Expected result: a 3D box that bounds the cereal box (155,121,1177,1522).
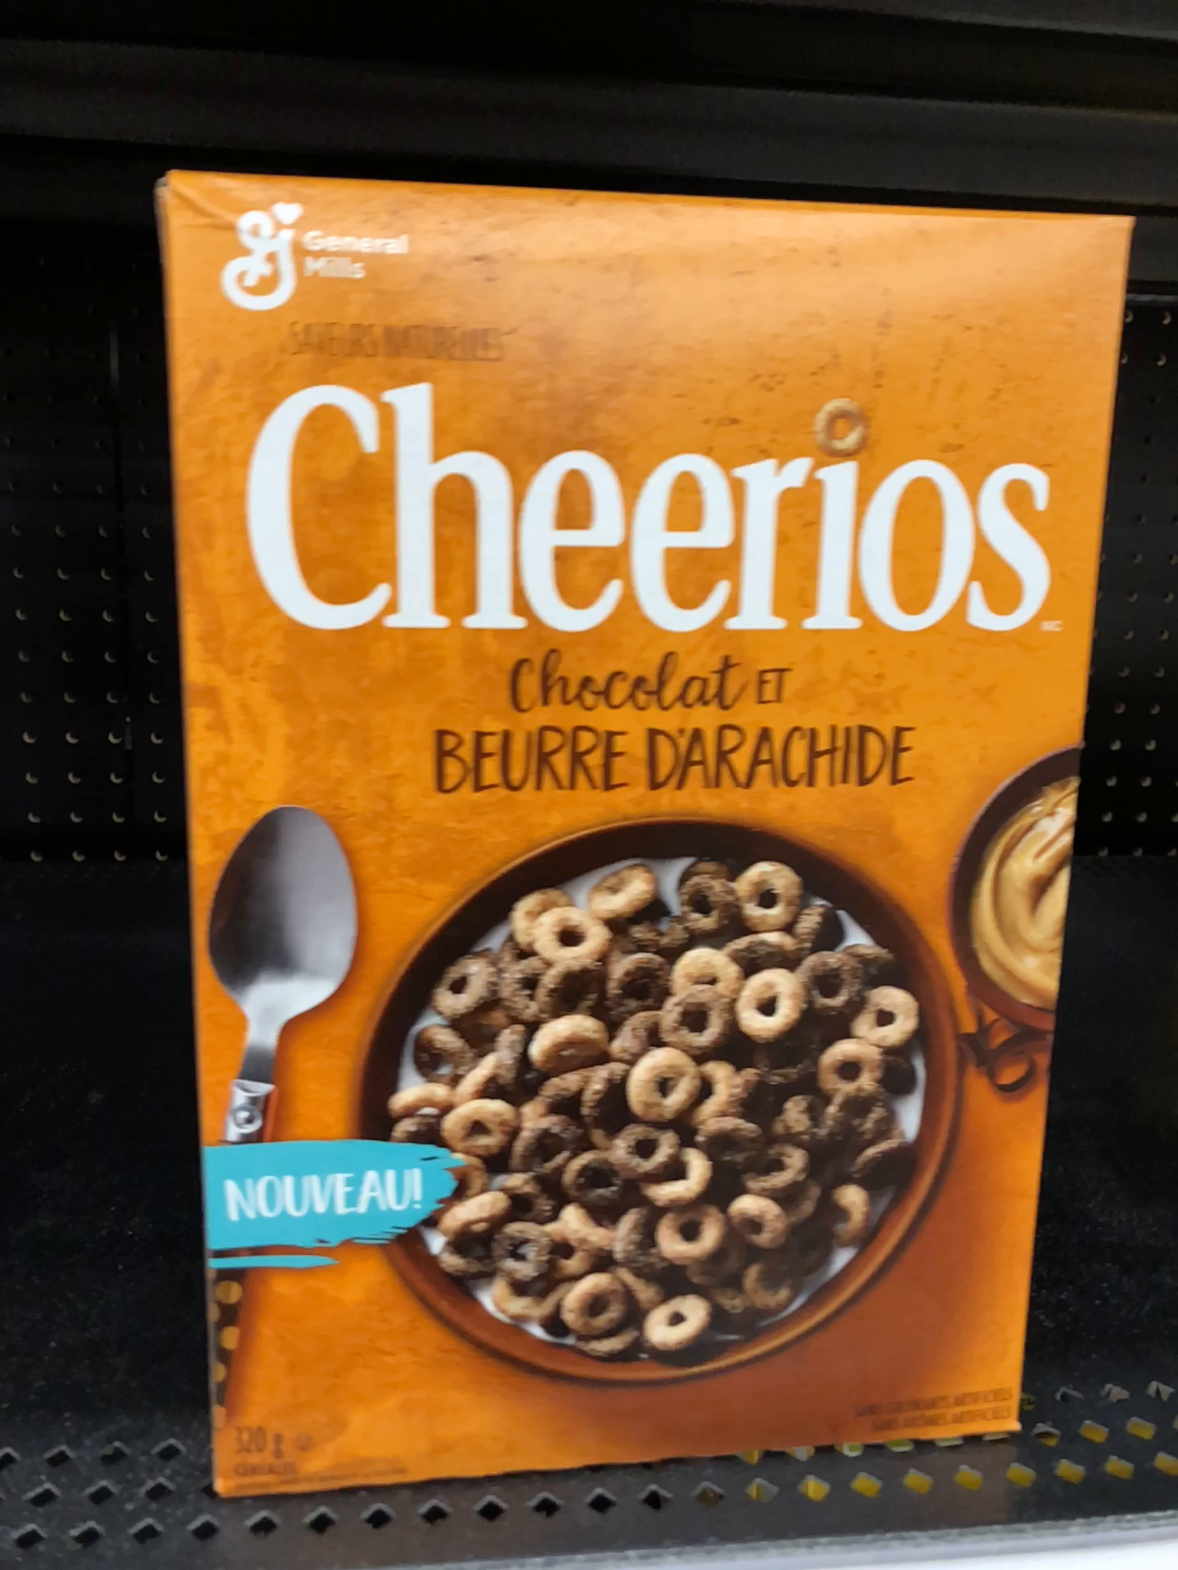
[{"bbox_3d":[0.014,0.016,0.304,0.200,0.289,0.060,0,12,-8],"label":"cereal box"}]
